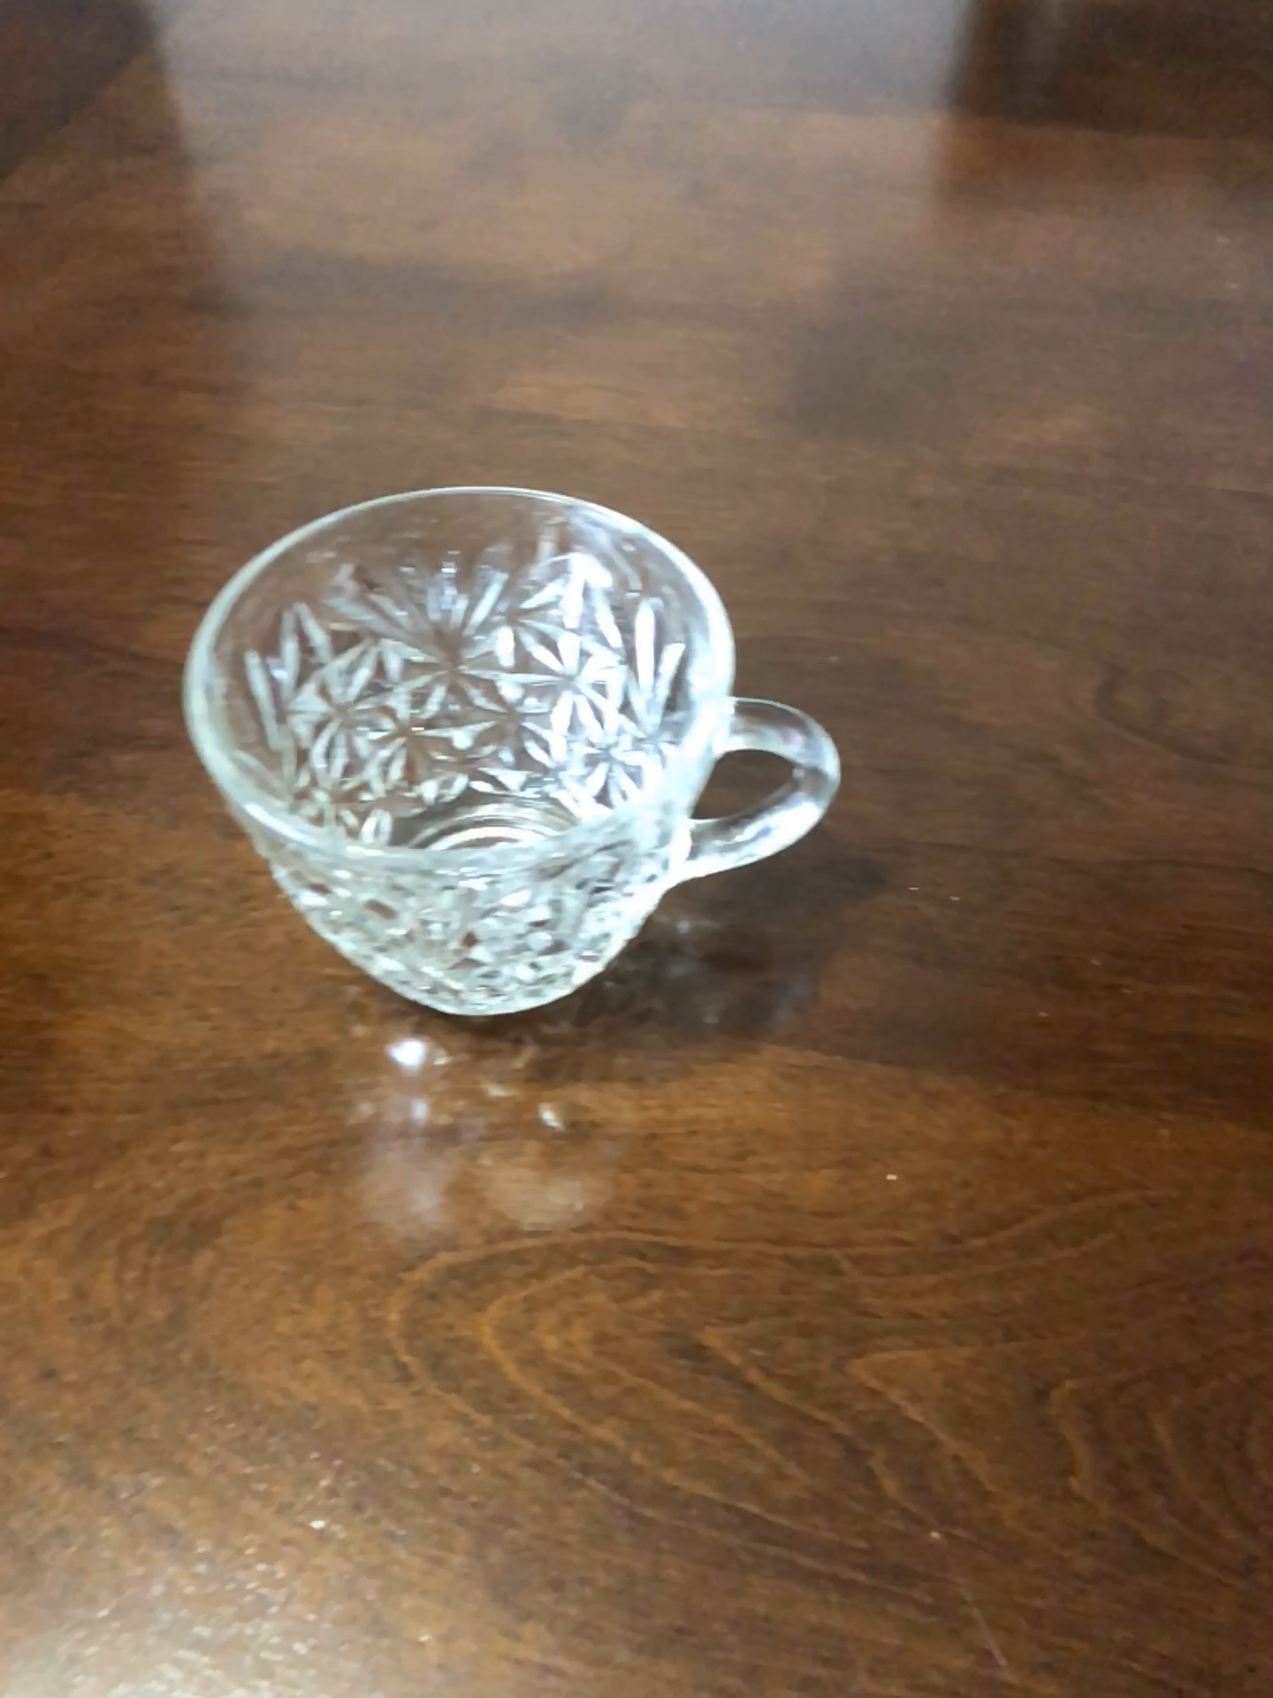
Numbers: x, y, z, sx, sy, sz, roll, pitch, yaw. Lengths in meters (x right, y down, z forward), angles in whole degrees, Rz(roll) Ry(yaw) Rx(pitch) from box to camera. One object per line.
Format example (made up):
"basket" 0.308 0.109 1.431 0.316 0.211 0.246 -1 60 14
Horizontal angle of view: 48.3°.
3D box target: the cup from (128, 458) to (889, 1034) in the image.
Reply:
"cup" -0.017 -0.017 0.232 0.100 0.060 0.070 -1 49 0
